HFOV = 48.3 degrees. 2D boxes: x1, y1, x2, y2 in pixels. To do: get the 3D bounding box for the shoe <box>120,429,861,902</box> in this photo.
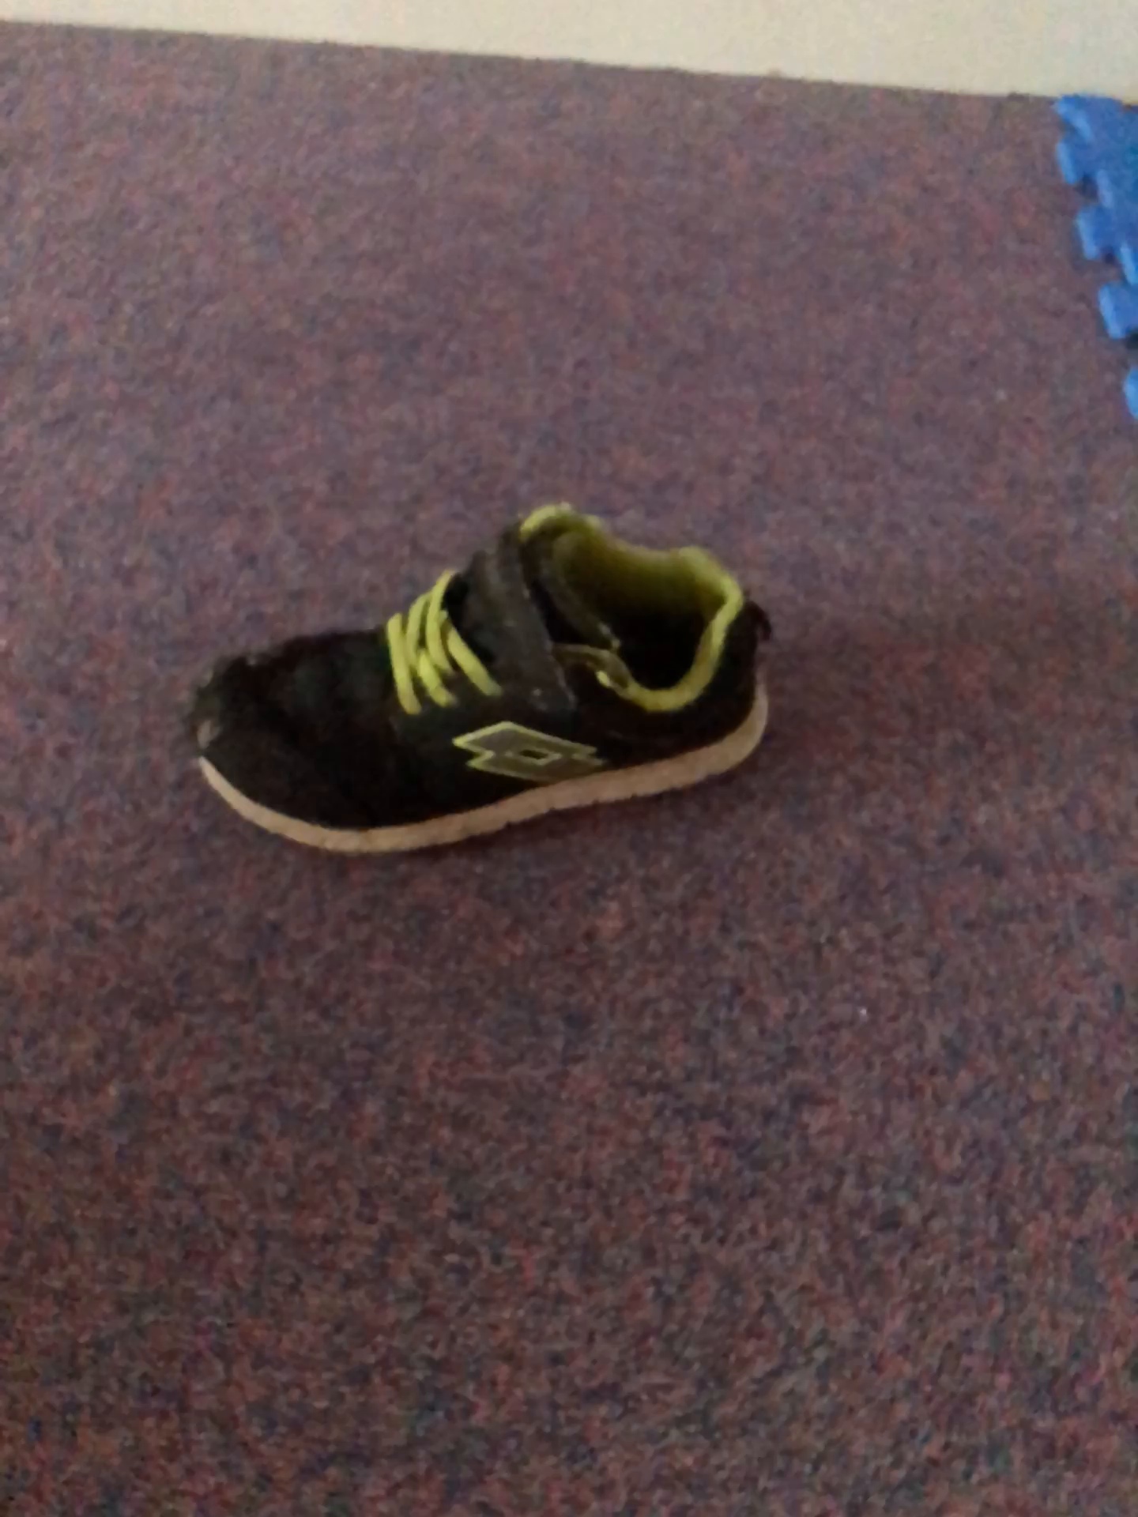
[{"bbox_3d":[-0.029,-0.033,0.442,0.220,0.100,0.090,-10,58,-11],"label":"shoe"}]
